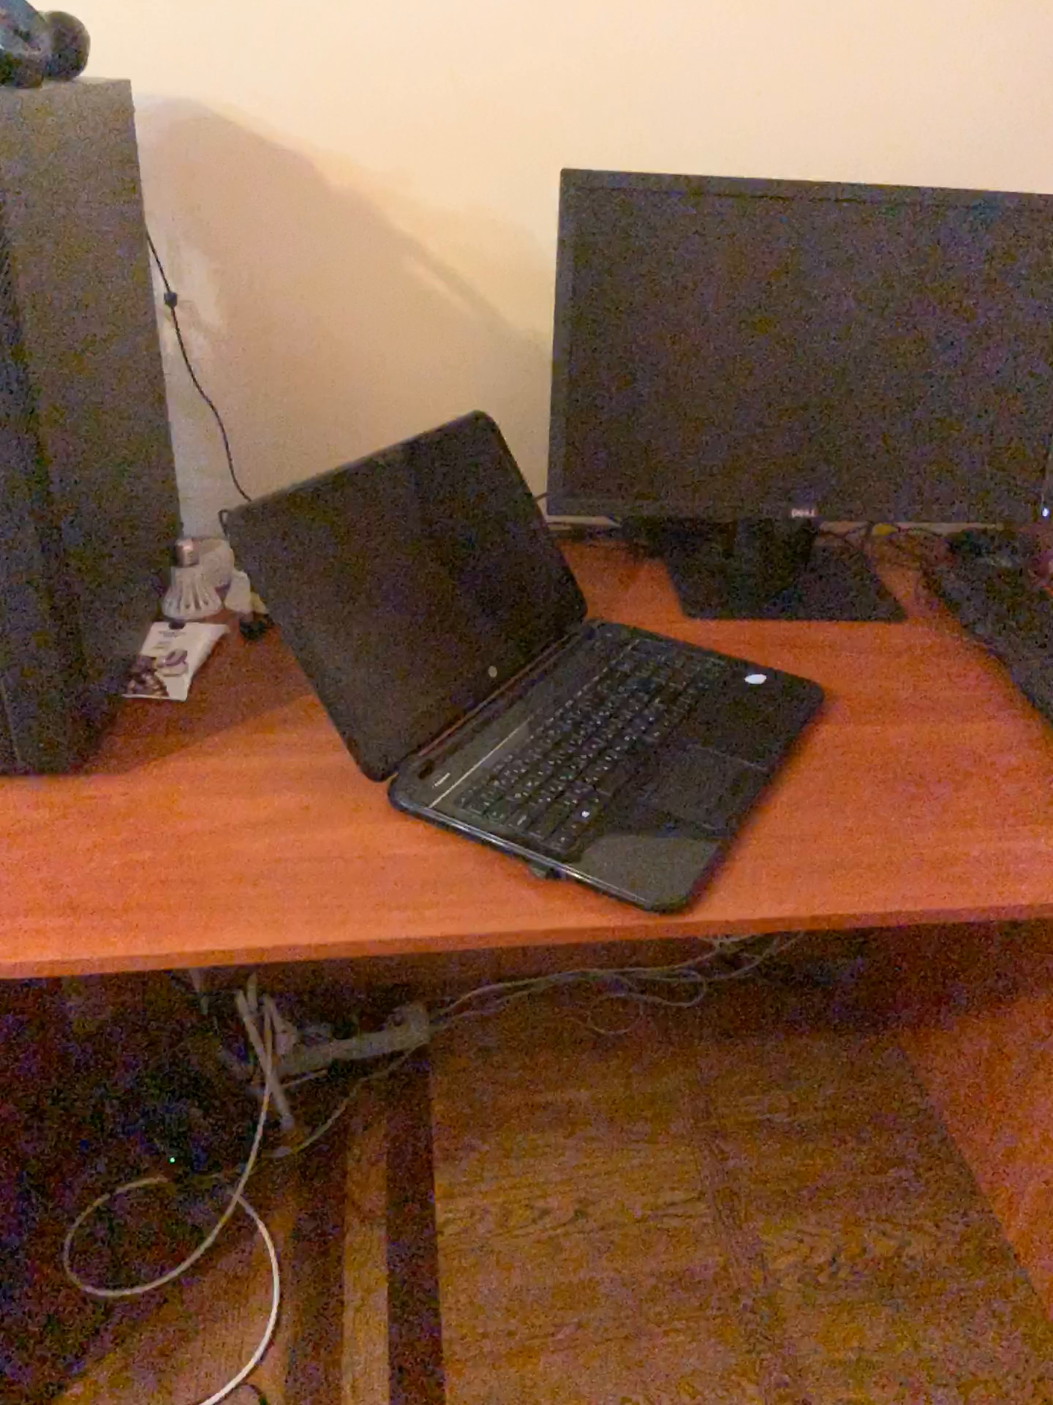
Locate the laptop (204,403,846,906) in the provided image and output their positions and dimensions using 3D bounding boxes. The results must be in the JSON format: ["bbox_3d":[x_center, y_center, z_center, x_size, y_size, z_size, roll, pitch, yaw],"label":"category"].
[{"bbox_3d":[0.013,-0.073,0.828,0.358,0.168,0.333,20,34,22],"label":"laptop"}]
